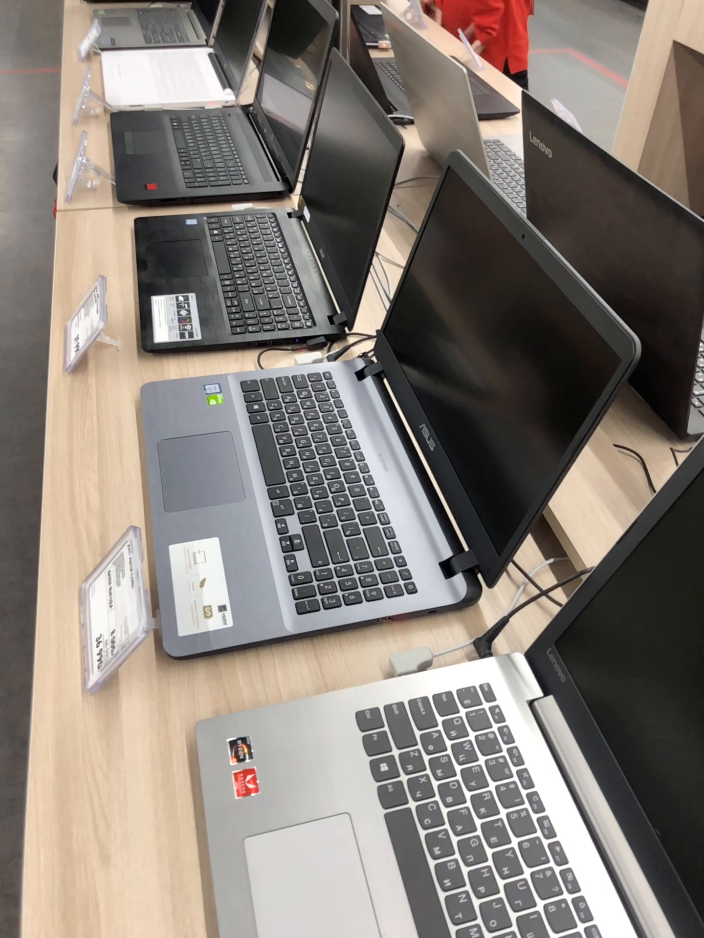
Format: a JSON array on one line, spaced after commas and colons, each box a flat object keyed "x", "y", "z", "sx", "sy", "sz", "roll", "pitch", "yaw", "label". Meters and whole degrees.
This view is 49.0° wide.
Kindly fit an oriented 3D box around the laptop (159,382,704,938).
[{"x": 0.101, "y": 0.192, "z": 0.361, "sx": 0.332, "sy": 0.220, "sz": 0.372, "roll": -10, "pitch": 44, "yaw": -12, "label": "laptop"}]

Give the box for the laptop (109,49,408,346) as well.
[{"x": -0.130, "y": -0.351, "z": 0.959, "sx": 0.291, "sy": 0.222, "sz": 0.334, "roll": -7, "pitch": 43, "yaw": -11, "label": "laptop"}]

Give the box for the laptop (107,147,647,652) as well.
[{"x": -0.017, "y": -0.086, "z": 0.661, "sx": 0.328, "sy": 0.226, "sz": 0.346, "roll": -9, "pitch": 43, "yaw": -12, "label": "laptop"}]
